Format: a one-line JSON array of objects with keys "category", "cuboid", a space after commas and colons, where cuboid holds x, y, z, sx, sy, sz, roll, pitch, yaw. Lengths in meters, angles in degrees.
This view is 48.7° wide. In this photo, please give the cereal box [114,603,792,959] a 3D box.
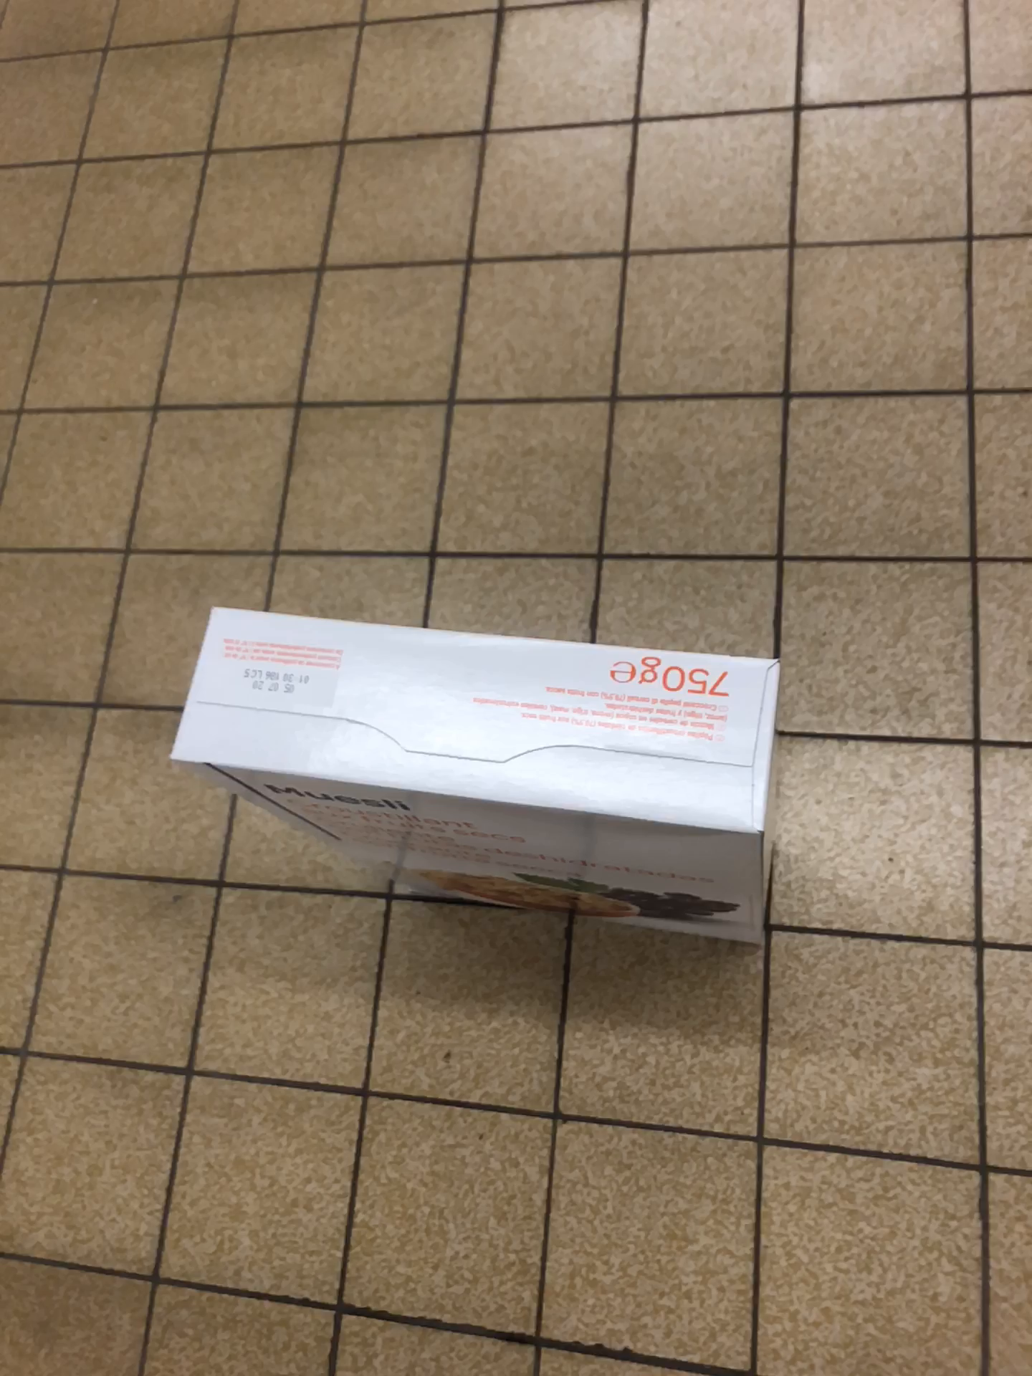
[{"category": "cereal box", "cuboid": [0.004, 0.052, 0.463, 0.200, 0.270, 0.060, 5, 73, 14]}]
